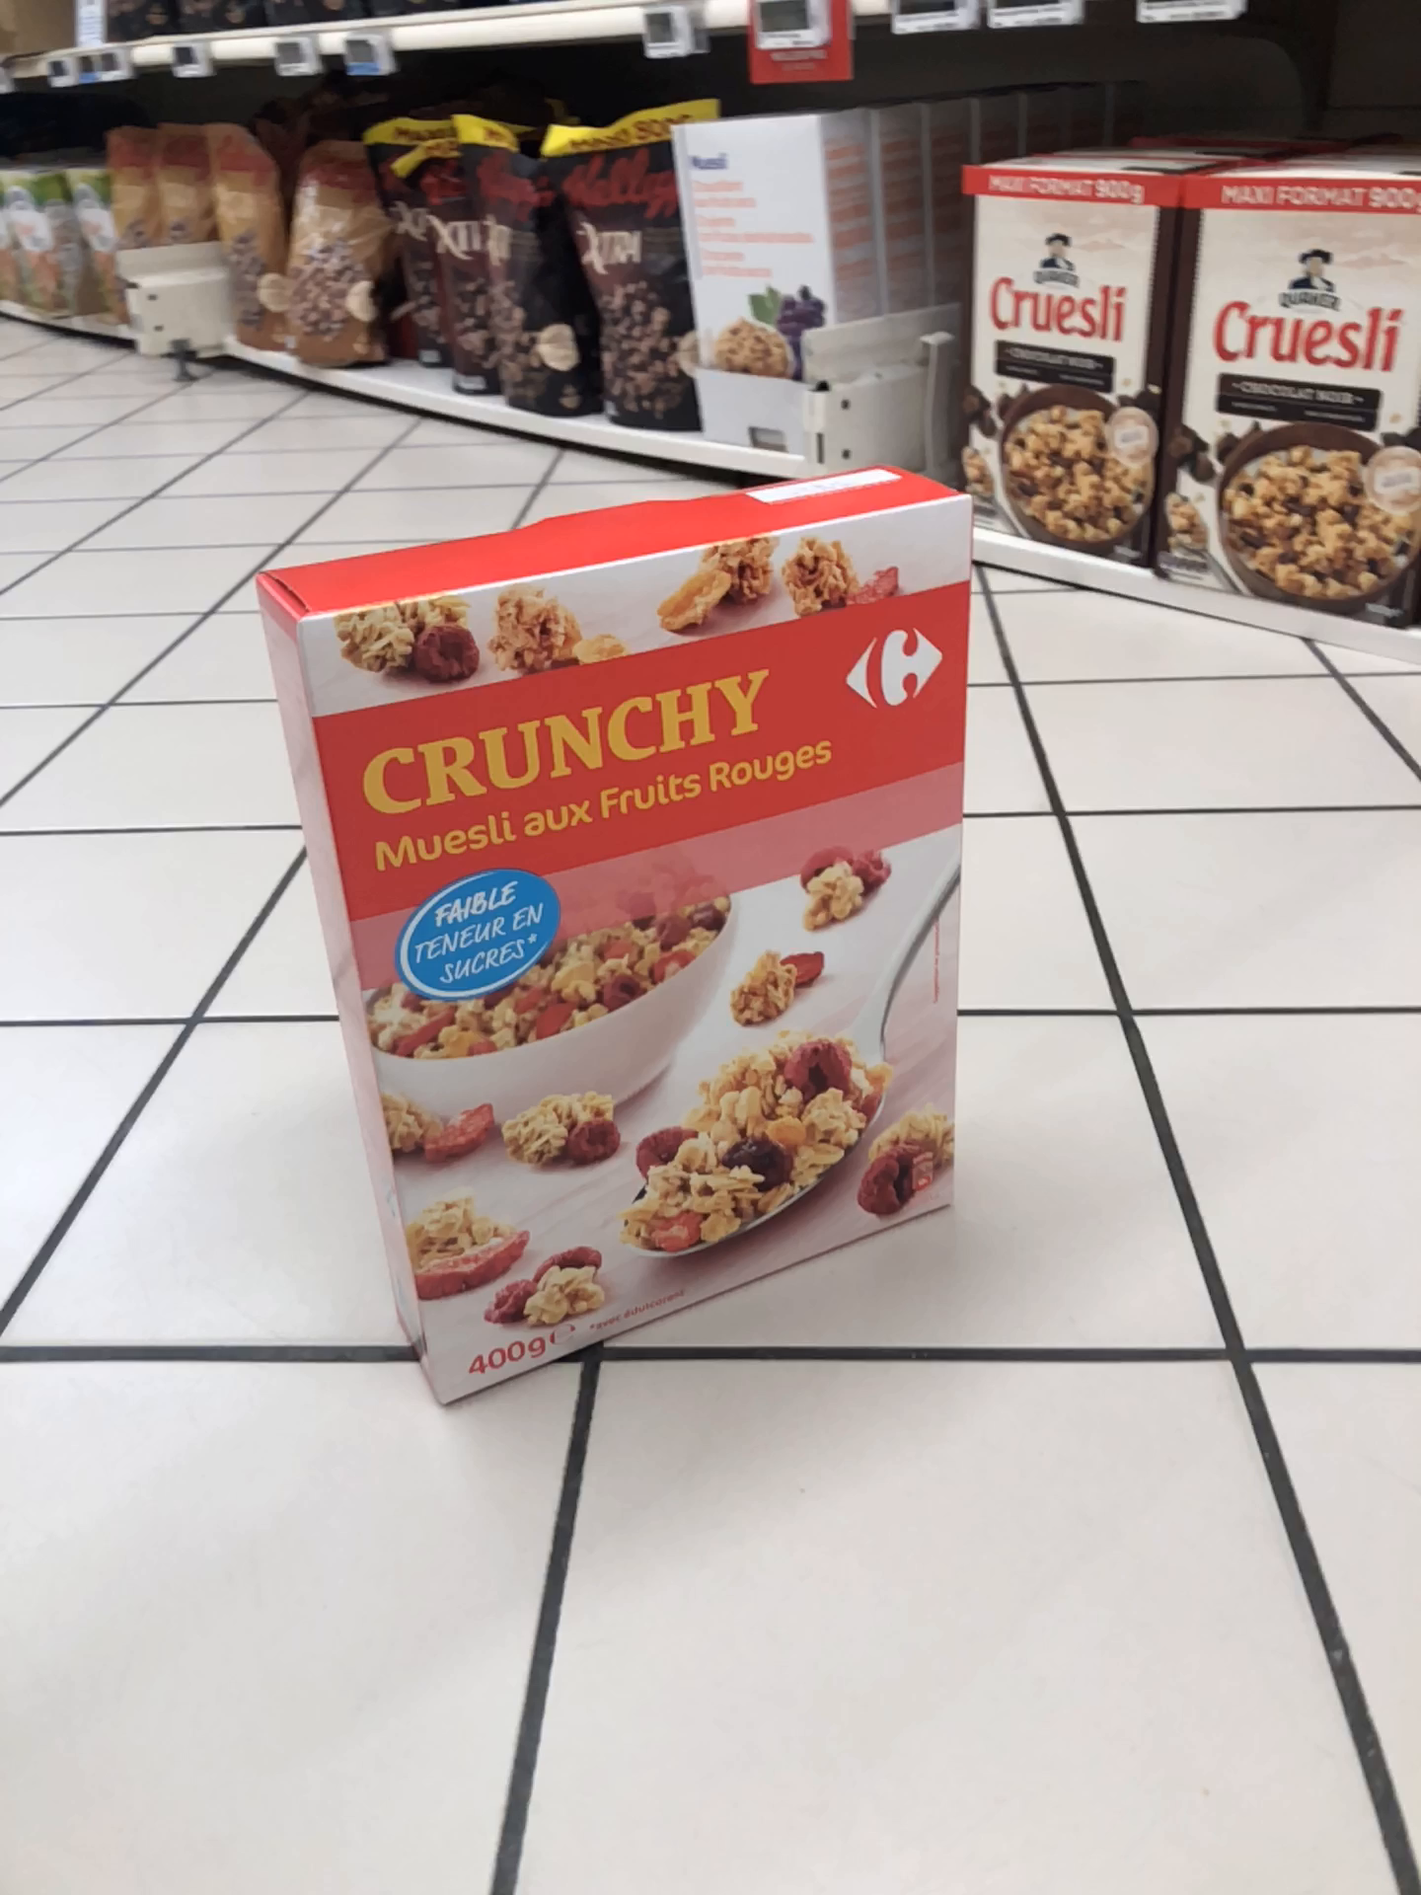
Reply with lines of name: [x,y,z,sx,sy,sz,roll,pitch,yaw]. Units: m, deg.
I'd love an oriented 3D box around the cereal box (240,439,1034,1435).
cereal box: [-0.009,-0.004,0.463,0.201,0.249,0.060,-17,31,-23]
